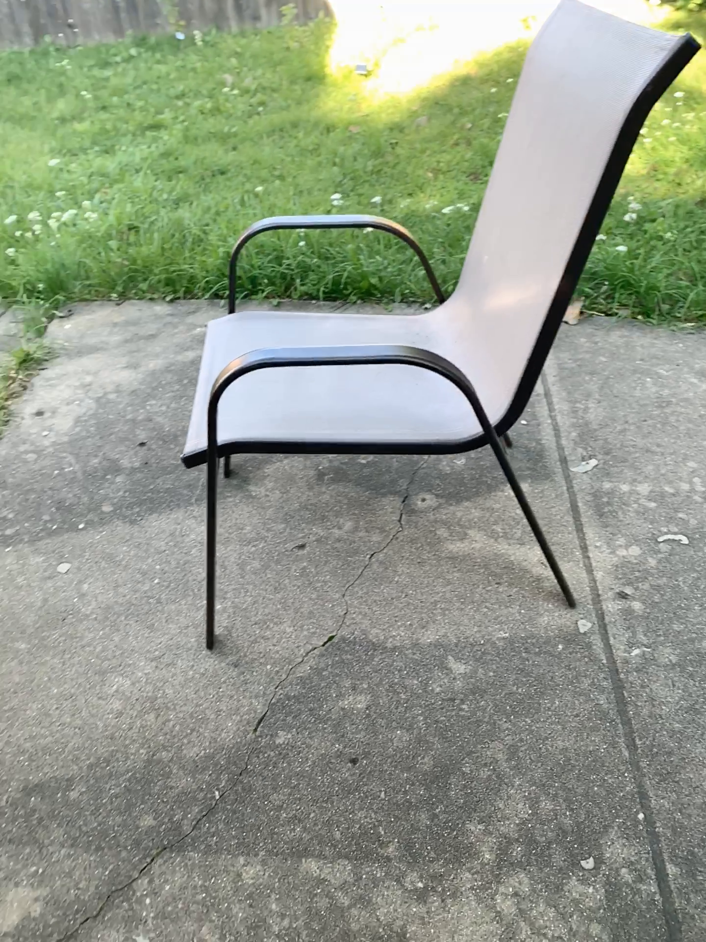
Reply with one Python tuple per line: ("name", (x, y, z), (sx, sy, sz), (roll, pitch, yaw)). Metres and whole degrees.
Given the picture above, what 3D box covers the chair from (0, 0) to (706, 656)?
("chair", (0.029, -0.230, 1.200), (0.740, 0.845, 0.573), (-7, 39, 1))
